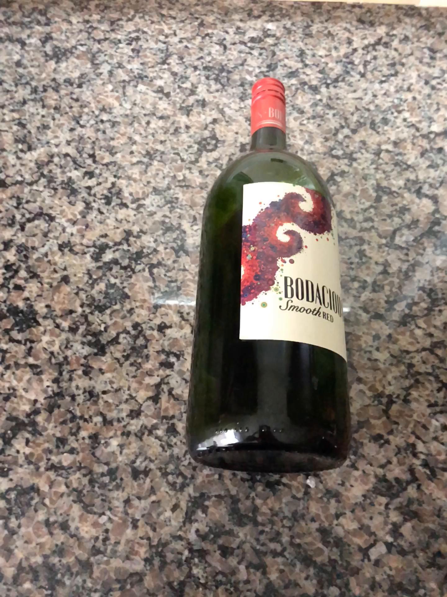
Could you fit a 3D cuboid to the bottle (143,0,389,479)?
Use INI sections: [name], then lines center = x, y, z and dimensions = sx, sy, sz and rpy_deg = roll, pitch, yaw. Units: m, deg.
[bottle]
center = 0.034, -0.054, 0.373
dimensions = 0.100, 0.110, 0.340
rpy_deg = -18, 56, 35
